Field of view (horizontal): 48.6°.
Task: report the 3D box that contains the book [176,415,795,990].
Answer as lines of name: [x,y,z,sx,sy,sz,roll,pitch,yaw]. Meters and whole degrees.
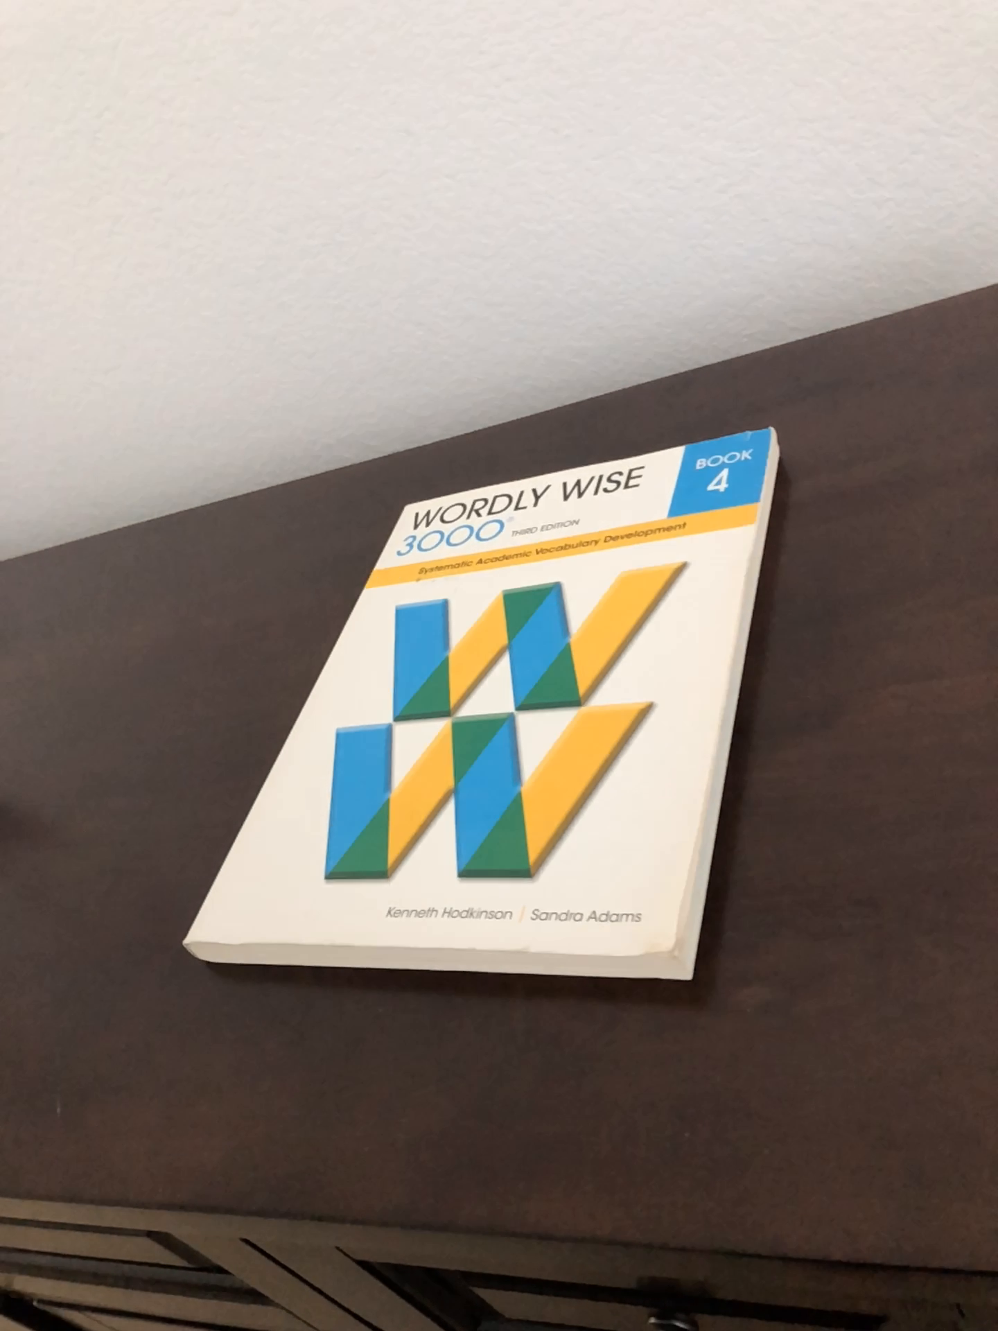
book: [0.005,0.004,0.480,0.217,0.020,0.274,-6,45,29]
